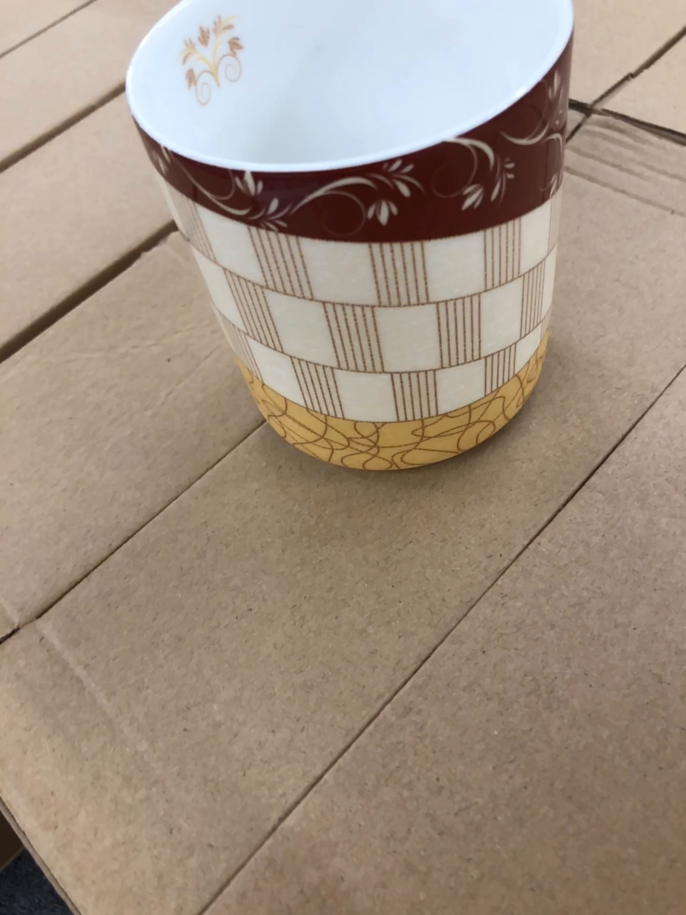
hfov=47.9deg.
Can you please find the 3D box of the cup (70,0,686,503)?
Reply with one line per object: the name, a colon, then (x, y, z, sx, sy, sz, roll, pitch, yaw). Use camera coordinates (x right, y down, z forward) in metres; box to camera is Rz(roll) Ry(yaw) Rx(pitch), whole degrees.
cup: (0.018, -0.060, 0.147, 0.070, 0.080, 0.100, 9, 59, 16)
